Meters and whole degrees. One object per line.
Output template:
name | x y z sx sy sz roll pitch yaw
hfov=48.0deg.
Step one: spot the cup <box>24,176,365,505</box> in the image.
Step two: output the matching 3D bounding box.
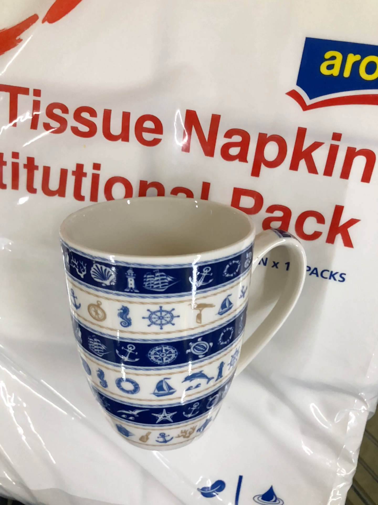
cup | 0.002 0.033 0.201 0.120 0.080 0.110 -16 119 -31
